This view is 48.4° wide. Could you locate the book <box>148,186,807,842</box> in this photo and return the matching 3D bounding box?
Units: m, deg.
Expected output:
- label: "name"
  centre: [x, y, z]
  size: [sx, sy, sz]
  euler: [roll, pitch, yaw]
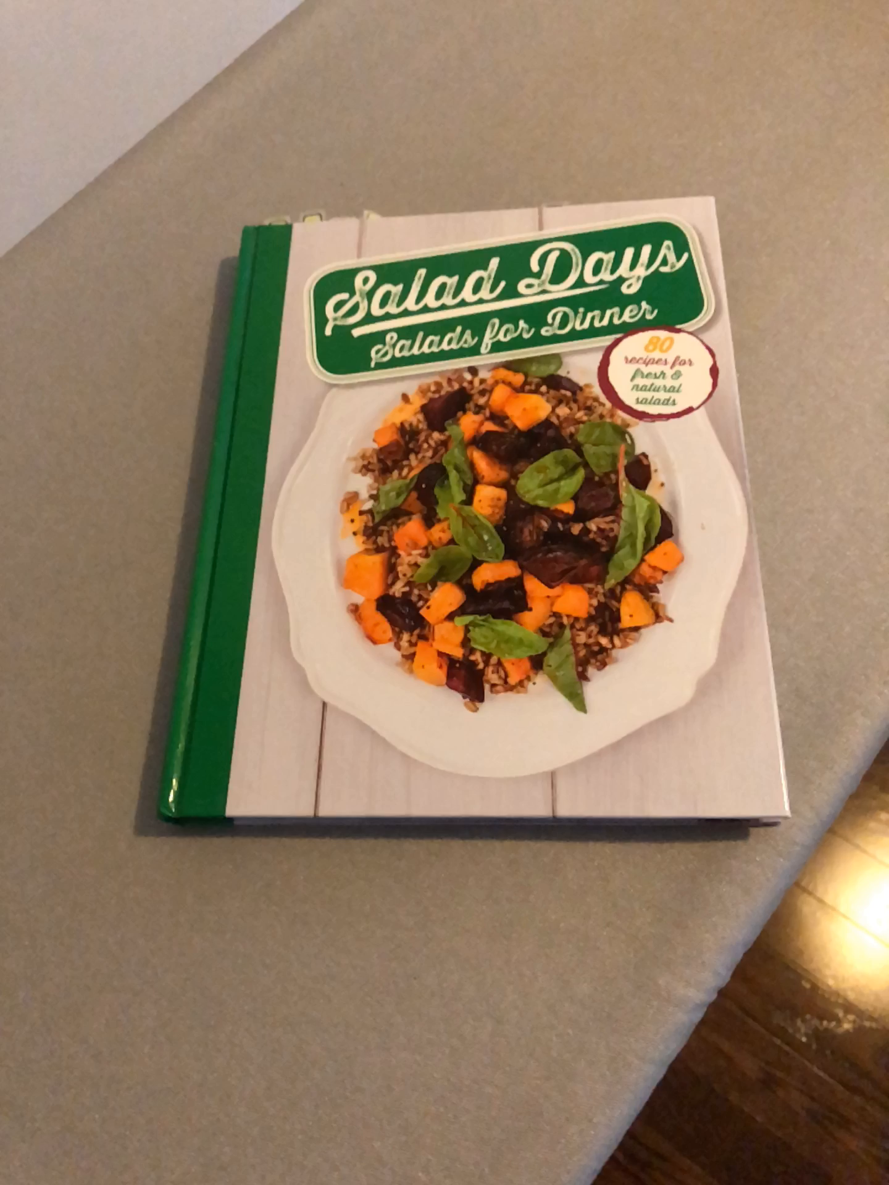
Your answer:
- label: "book"
  centre: [0.011, -0.044, 0.387]
  size: [0.213, 0.020, 0.275]
  euler: [-1, 65, 5]
